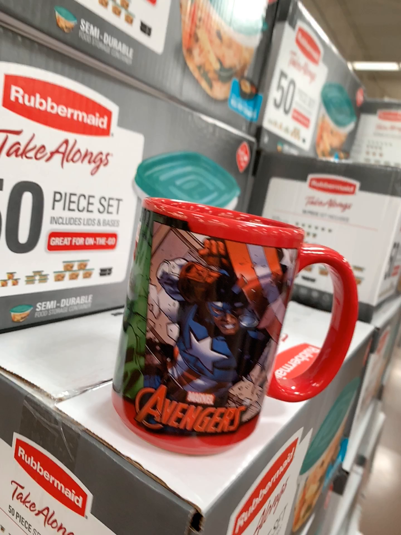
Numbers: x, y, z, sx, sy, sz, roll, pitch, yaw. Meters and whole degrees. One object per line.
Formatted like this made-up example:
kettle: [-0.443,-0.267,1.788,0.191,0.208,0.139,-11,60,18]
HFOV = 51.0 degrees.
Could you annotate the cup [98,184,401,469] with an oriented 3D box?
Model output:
cup: [0.016,0.025,0.238,0.119,0.114,0.100,9,14,-9]
